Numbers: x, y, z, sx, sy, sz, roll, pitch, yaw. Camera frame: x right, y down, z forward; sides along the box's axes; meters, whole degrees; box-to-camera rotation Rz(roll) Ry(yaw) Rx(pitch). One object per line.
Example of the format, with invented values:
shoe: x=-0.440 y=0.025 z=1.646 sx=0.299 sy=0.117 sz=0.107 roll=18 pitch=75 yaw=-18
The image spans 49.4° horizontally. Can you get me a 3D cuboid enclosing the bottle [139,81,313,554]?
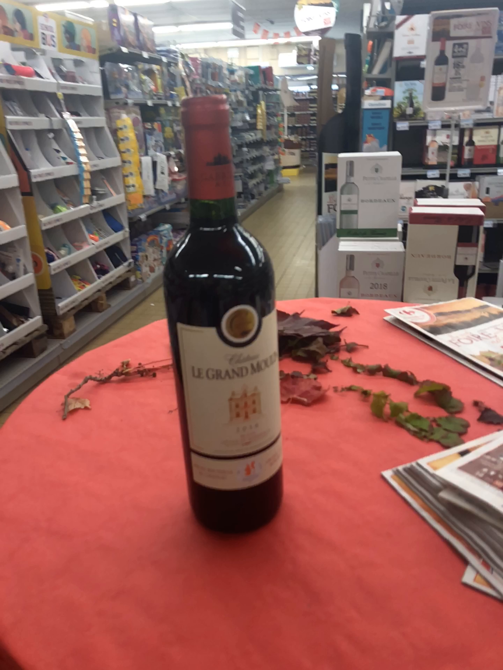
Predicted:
bottle: x=-0.013 y=-0.007 z=0.375 sx=0.080 sy=0.298 sz=0.080 roll=-2 pitch=21 yaw=1
